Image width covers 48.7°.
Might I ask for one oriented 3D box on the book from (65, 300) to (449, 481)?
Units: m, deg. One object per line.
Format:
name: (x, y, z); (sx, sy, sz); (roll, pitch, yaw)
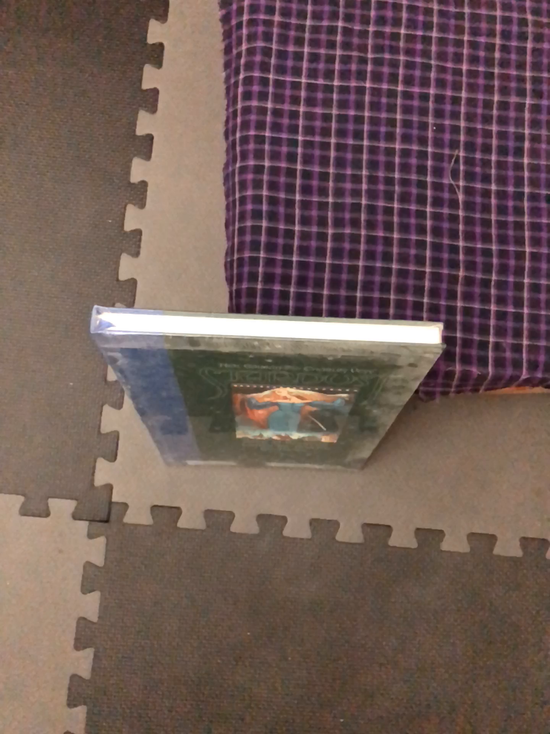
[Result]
book: (-0.012, 0.041, 0.487); (0.210, 0.330, 0.020); (2, 67, 0)
